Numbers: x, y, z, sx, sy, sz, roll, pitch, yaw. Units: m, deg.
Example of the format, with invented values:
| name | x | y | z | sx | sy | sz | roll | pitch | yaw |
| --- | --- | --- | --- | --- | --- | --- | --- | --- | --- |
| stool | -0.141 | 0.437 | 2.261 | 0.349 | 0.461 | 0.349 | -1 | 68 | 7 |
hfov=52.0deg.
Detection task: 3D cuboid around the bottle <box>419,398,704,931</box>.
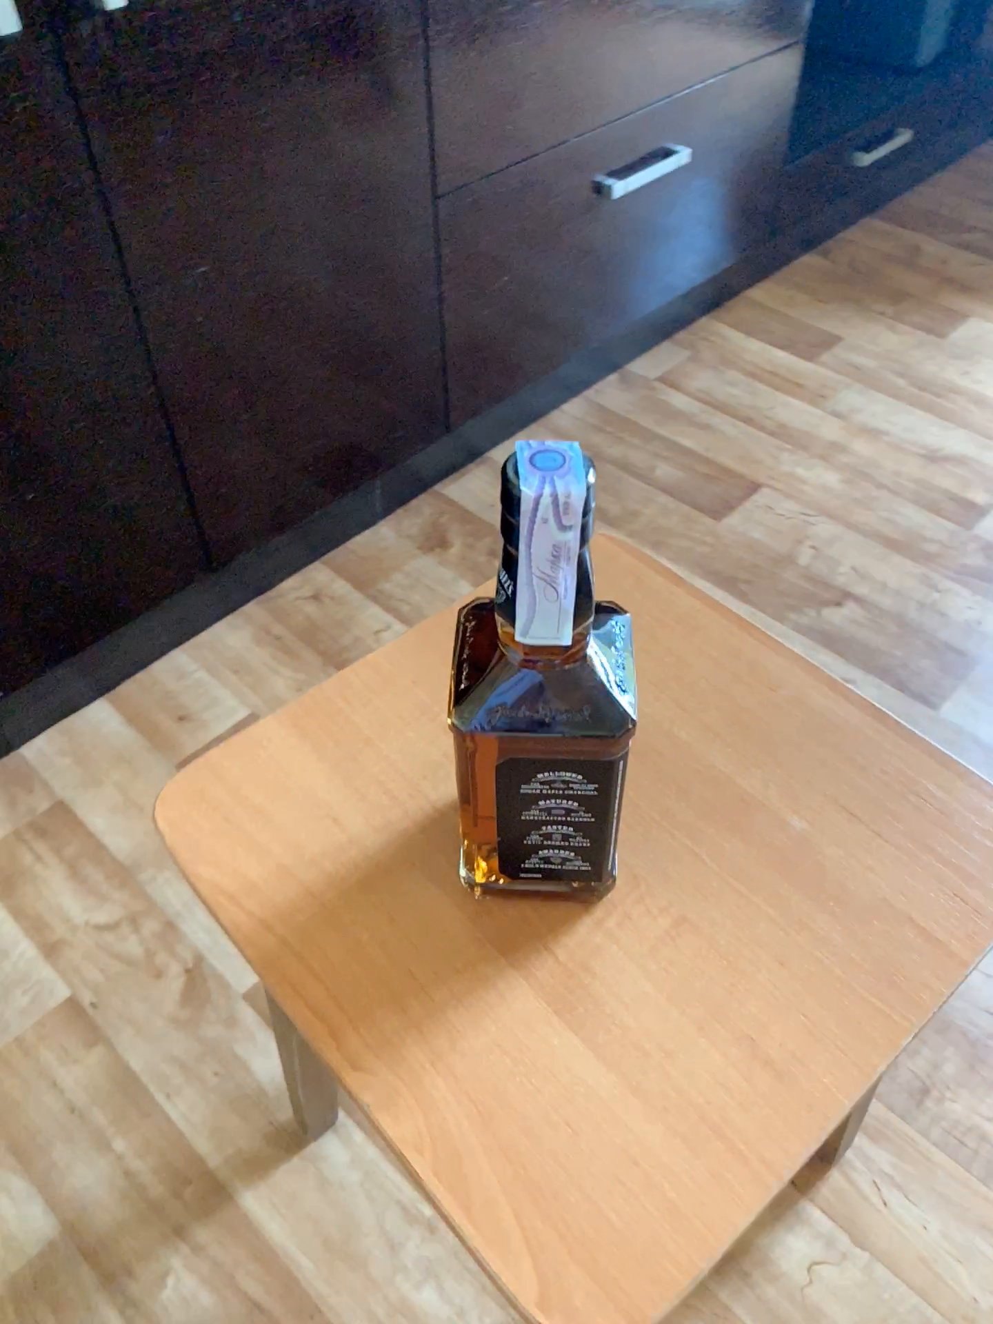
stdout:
| name | x | y | z | sx | sy | sz | roll | pitch | yaw |
| --- | --- | --- | --- | --- | --- | --- | --- | --- | --- |
| bottle | 0.022 | 0.013 | 0.391 | 0.080 | 0.209 | 0.080 | 0 | 47 | 0 |
